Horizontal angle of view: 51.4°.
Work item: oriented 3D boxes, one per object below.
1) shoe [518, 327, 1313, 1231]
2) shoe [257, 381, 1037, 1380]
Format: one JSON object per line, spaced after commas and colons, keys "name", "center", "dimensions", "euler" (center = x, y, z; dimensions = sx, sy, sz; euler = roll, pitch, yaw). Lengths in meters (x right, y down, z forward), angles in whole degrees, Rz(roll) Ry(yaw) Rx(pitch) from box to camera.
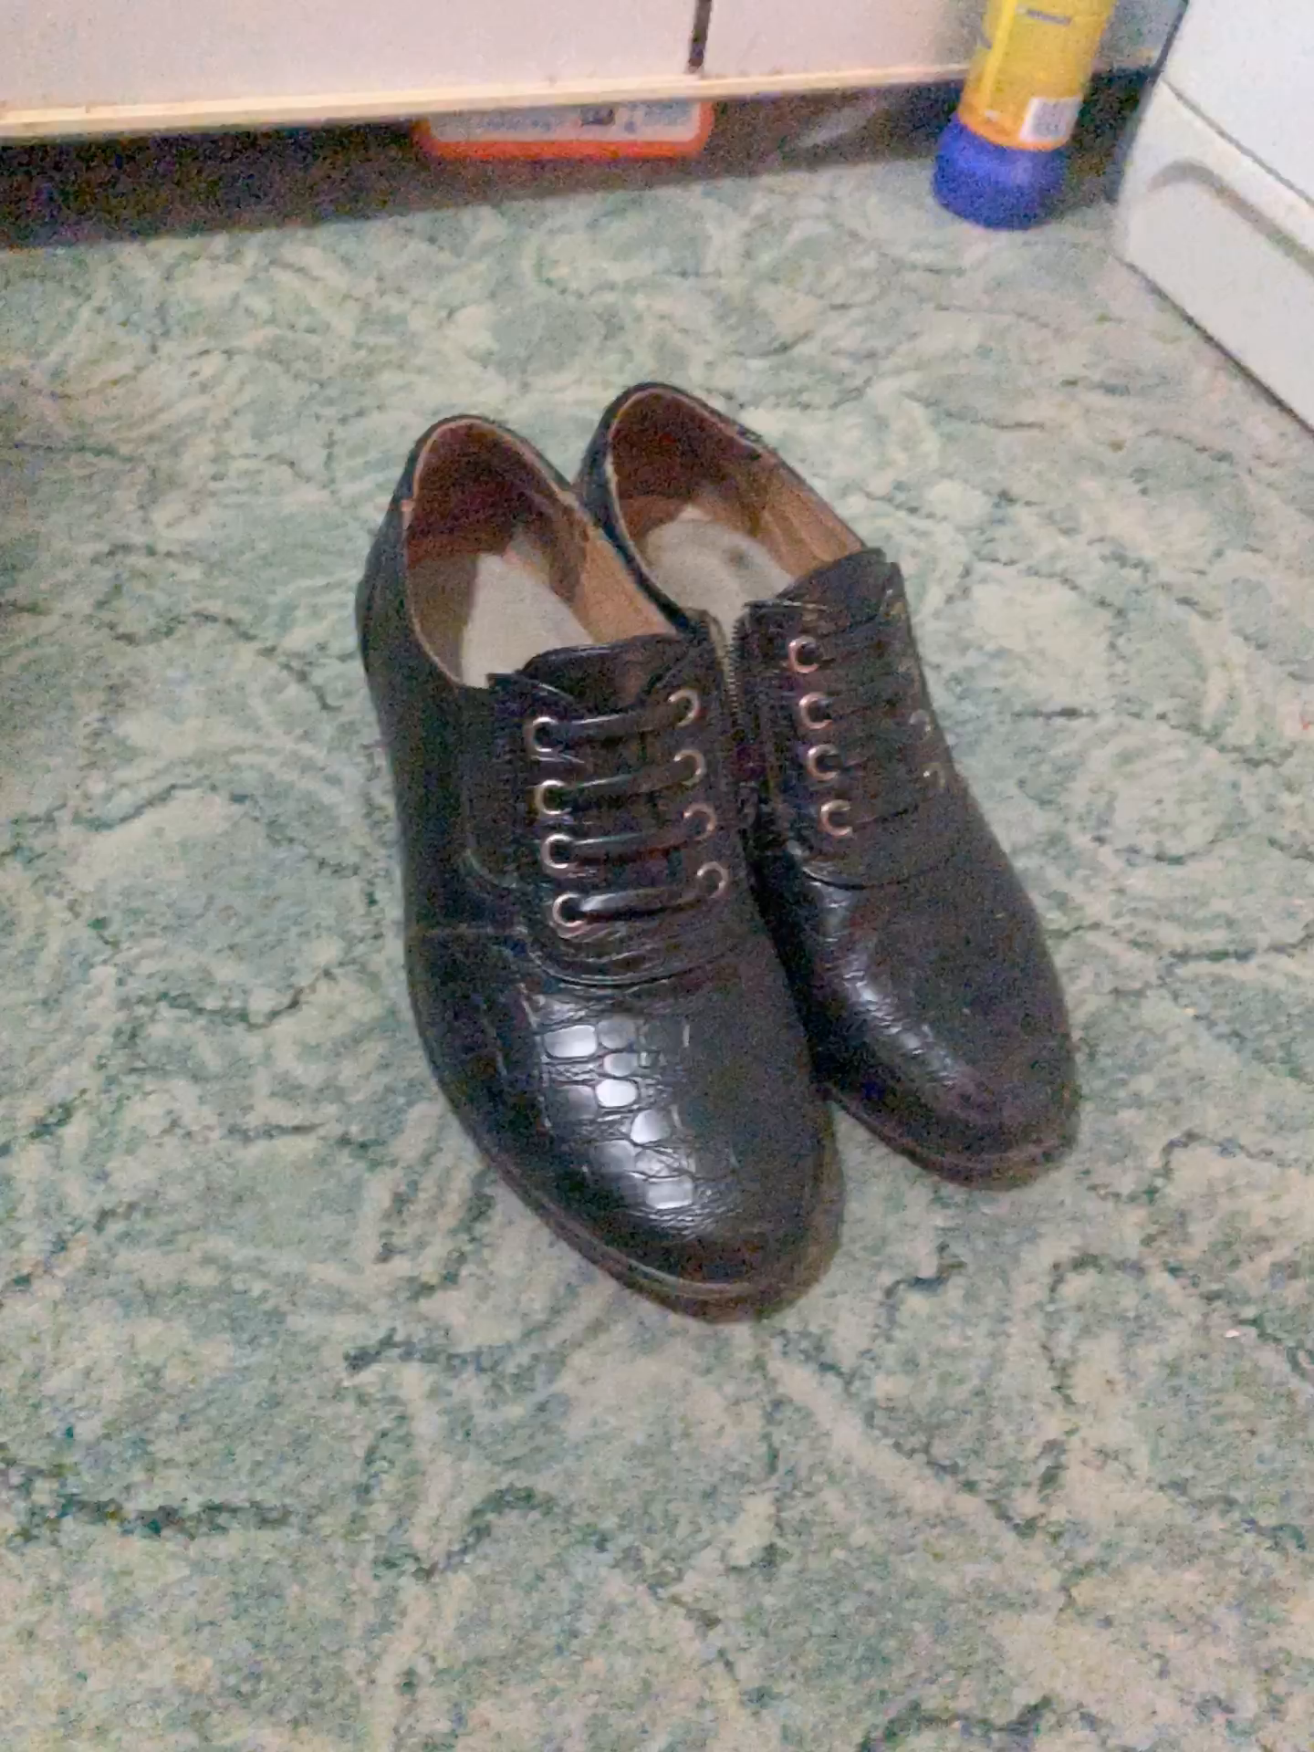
{"name": "shoe", "center": [0.052, -0.035, 0.378], "dimensions": [0.090, 0.119, 0.211], "euler": [-20, 57, -24]}
{"name": "shoe", "center": [-0.022, -0.009, 0.357], "dimensions": [0.090, 0.119, 0.221], "euler": [-17, 56, -22]}
